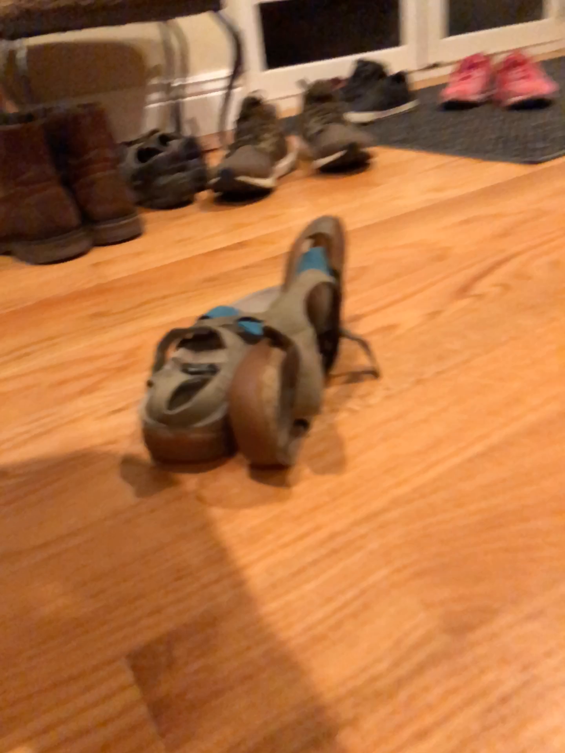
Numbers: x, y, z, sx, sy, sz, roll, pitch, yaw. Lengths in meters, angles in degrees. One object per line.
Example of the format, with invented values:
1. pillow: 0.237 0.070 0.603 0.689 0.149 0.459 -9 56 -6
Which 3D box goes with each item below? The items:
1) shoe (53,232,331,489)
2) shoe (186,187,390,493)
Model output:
1. shoe: -0.043 -0.030 0.450 0.104 0.075 0.241 1 30 17
2. shoe: 0.022 -0.043 0.414 0.065 0.104 0.239 1 30 17
